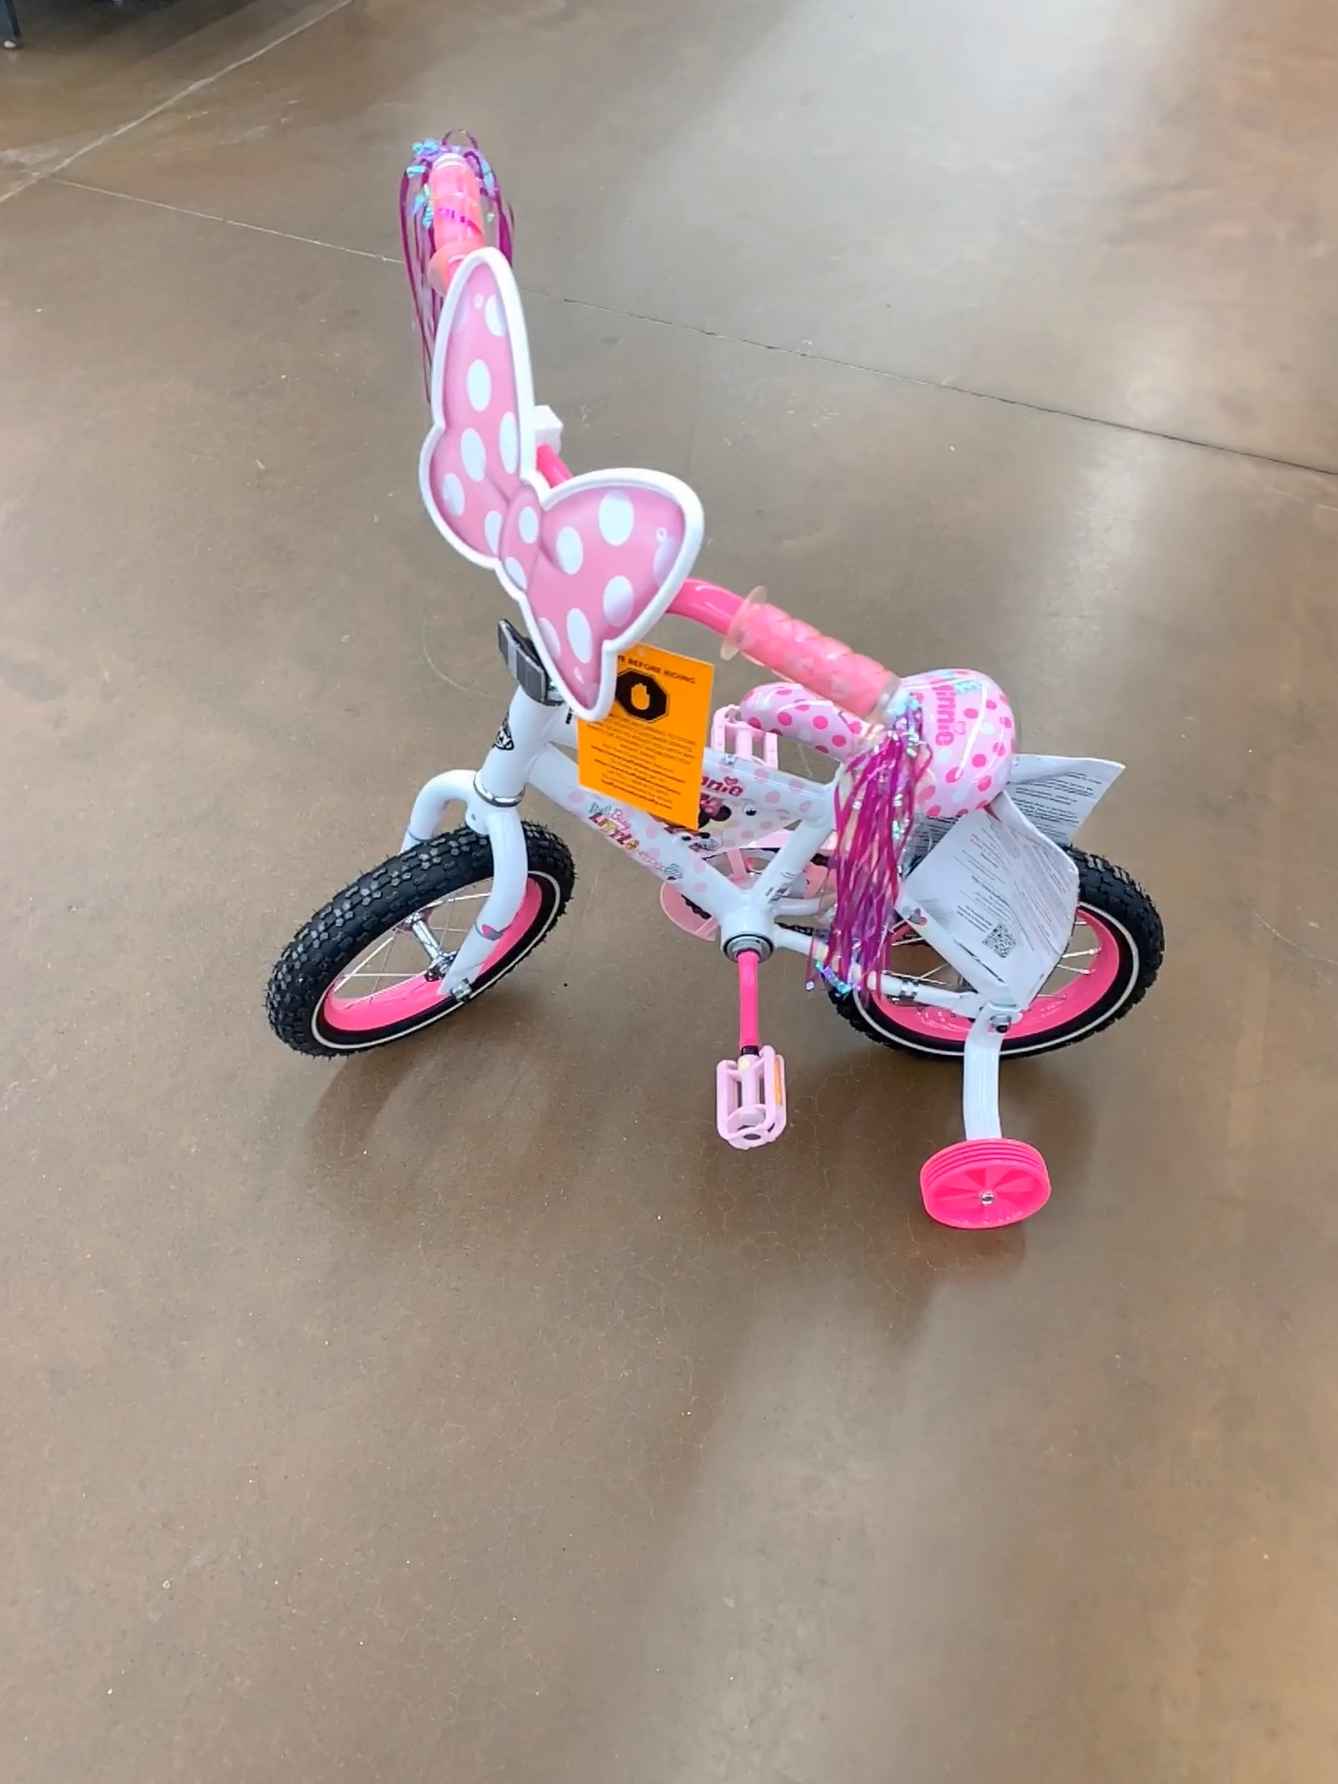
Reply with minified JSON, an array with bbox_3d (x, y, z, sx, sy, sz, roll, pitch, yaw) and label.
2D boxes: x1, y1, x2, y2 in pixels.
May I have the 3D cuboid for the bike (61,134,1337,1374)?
[{"bbox_3d":[0.071,-0.053,1.000,0.759,0.750,0.444,-6,49,-10],"label":"bike"}]
